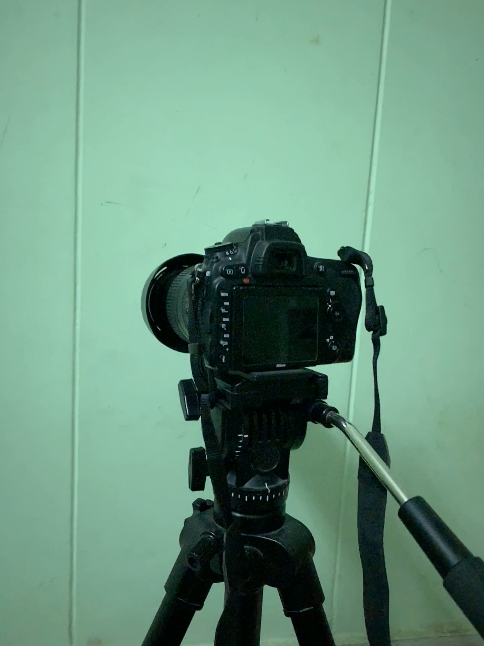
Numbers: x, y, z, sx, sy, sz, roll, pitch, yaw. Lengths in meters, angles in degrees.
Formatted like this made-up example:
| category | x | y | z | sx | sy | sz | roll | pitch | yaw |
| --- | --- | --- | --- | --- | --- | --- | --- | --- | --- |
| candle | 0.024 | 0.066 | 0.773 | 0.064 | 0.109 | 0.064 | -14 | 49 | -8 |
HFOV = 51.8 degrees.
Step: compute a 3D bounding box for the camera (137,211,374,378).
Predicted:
| category | x | y | z | sx | sy | sz | roll | pitch | yaw |
| --- | --- | --- | --- | --- | --- | --- | --- | --- | --- |
| camera | 0.000 | -0.033 | 0.460 | 0.140 | 0.117 | 0.182 | -1 | 9 | -29 |
